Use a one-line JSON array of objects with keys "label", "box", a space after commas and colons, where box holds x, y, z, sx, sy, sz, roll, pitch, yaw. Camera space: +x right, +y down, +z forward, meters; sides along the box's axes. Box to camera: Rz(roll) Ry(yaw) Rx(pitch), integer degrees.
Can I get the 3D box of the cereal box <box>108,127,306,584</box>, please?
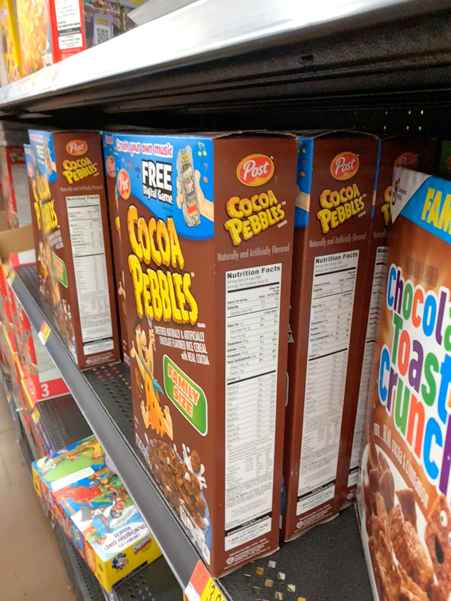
[{"label": "cereal box", "box": [-0.029, 0.027, 0.397, 0.060, 0.329, 0.201, -10, 23, -28]}]
